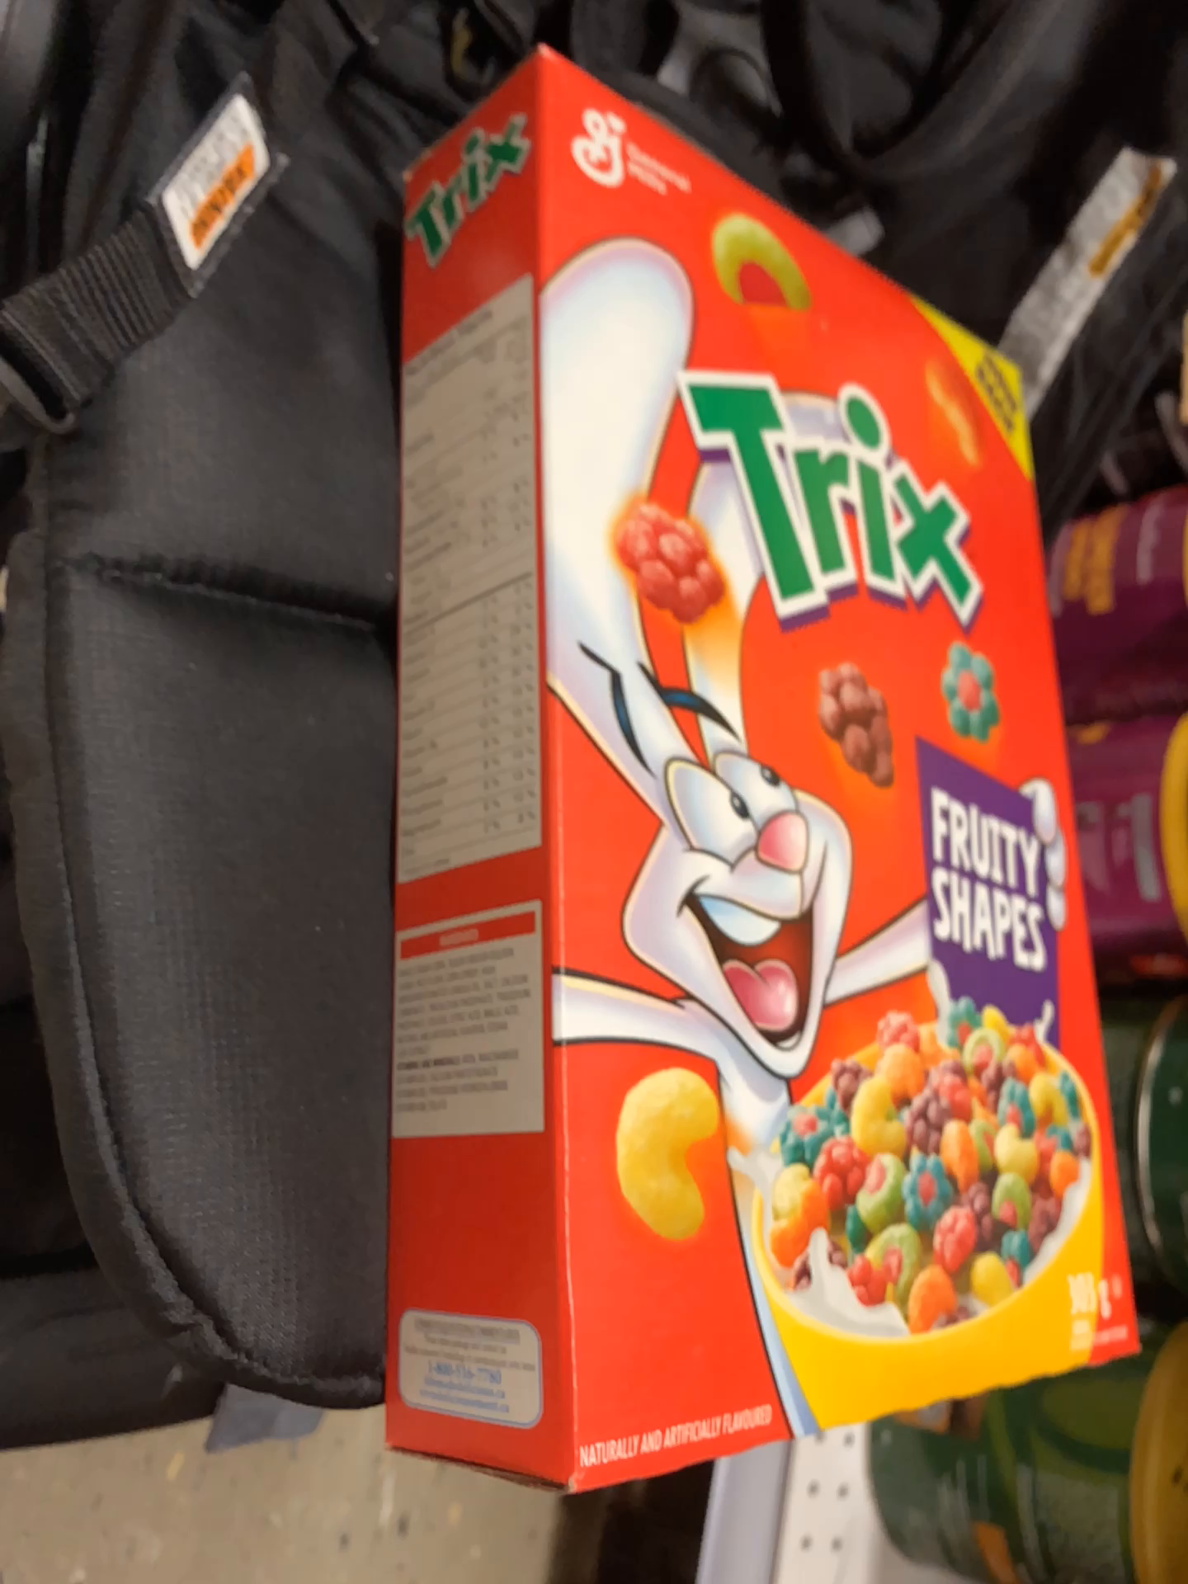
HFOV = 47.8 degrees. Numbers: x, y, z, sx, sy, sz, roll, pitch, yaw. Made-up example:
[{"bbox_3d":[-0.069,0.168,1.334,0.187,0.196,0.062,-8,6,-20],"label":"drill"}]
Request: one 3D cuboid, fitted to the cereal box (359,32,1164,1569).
[{"bbox_3d":[0.048,0.003,0.326,0.201,0.060,0.280,12,71,-42],"label":"cereal box"}]
